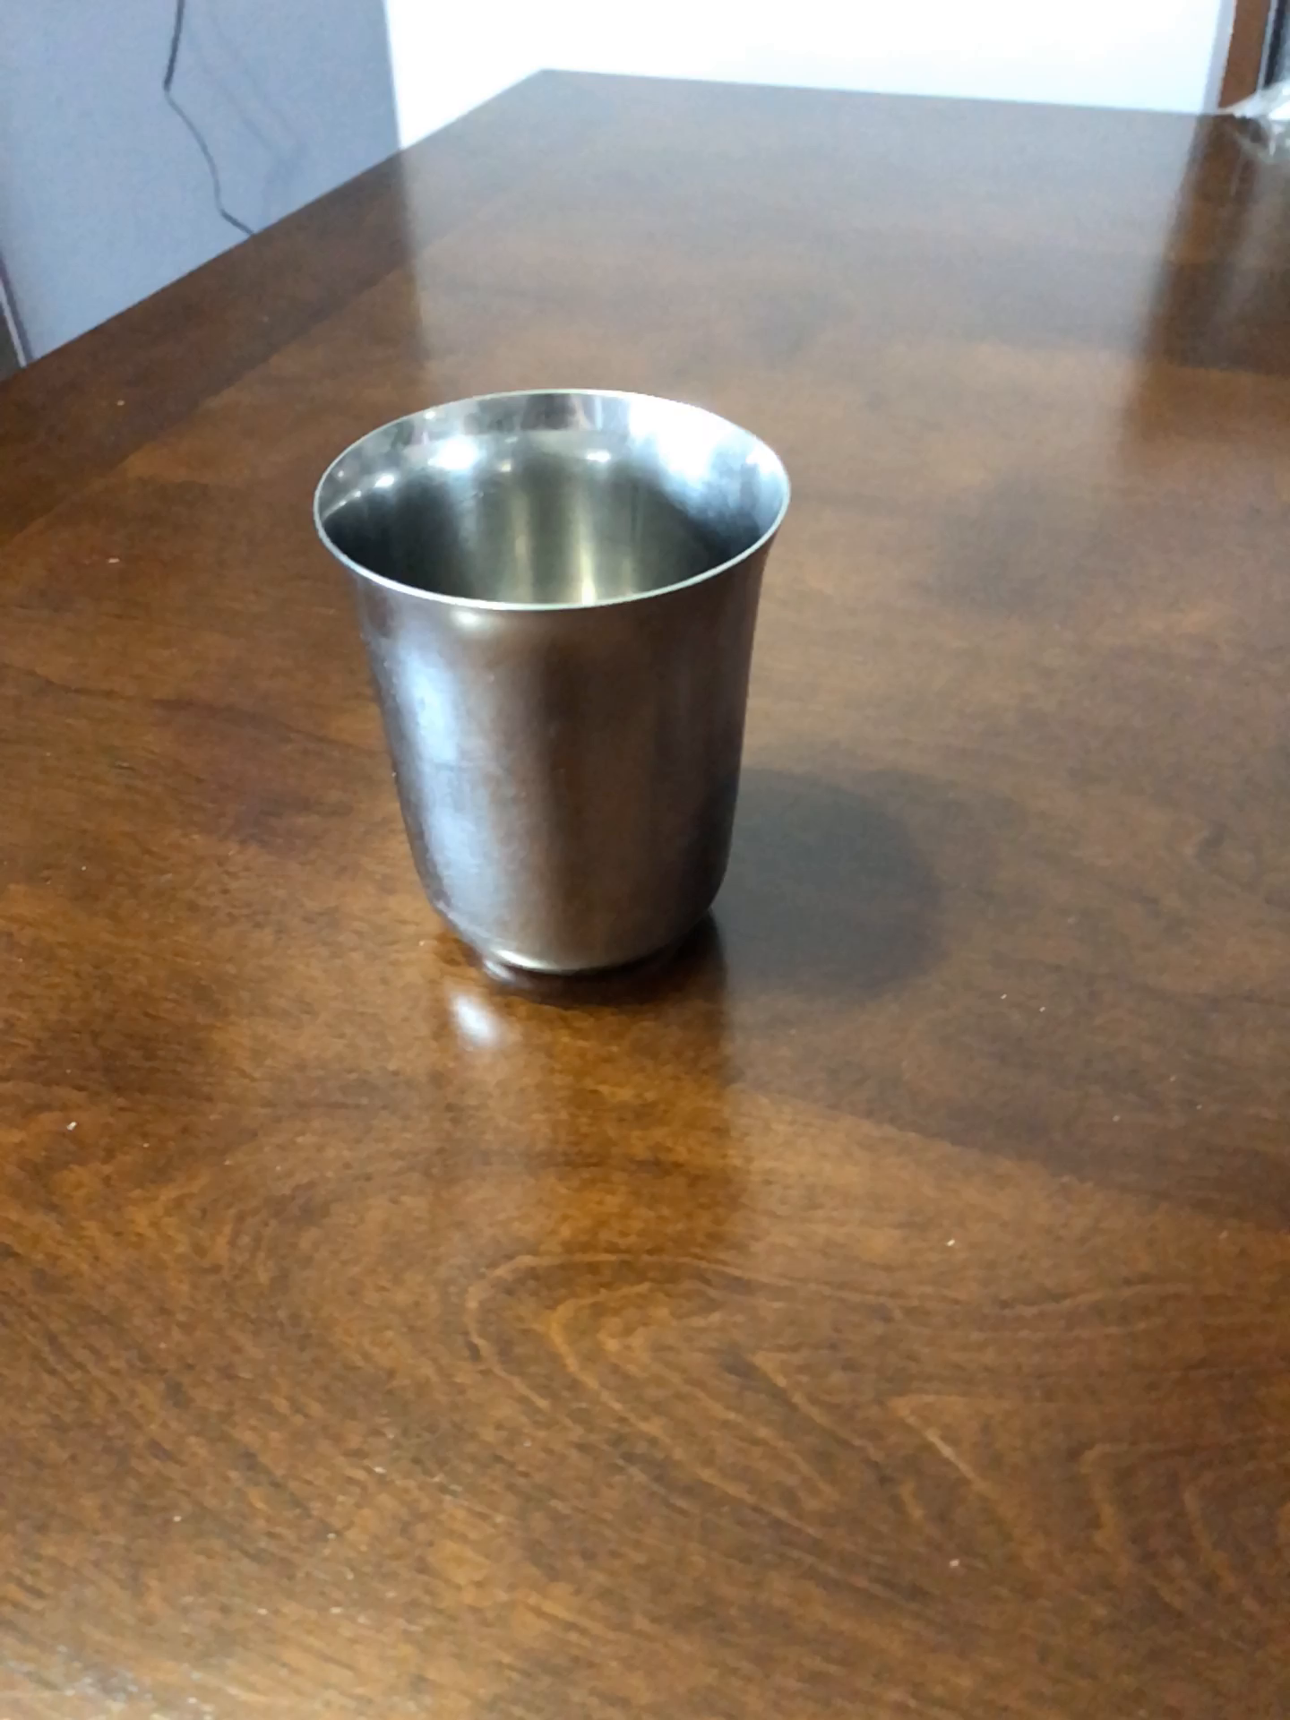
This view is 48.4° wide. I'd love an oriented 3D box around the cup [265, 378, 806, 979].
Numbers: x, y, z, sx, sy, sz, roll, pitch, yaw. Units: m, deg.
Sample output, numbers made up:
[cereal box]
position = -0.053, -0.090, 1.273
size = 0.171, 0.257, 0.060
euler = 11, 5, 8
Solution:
[cup]
position = -0.015, -0.035, 0.268
size = 0.080, 0.080, 0.080
euler = -1, 40, 1
